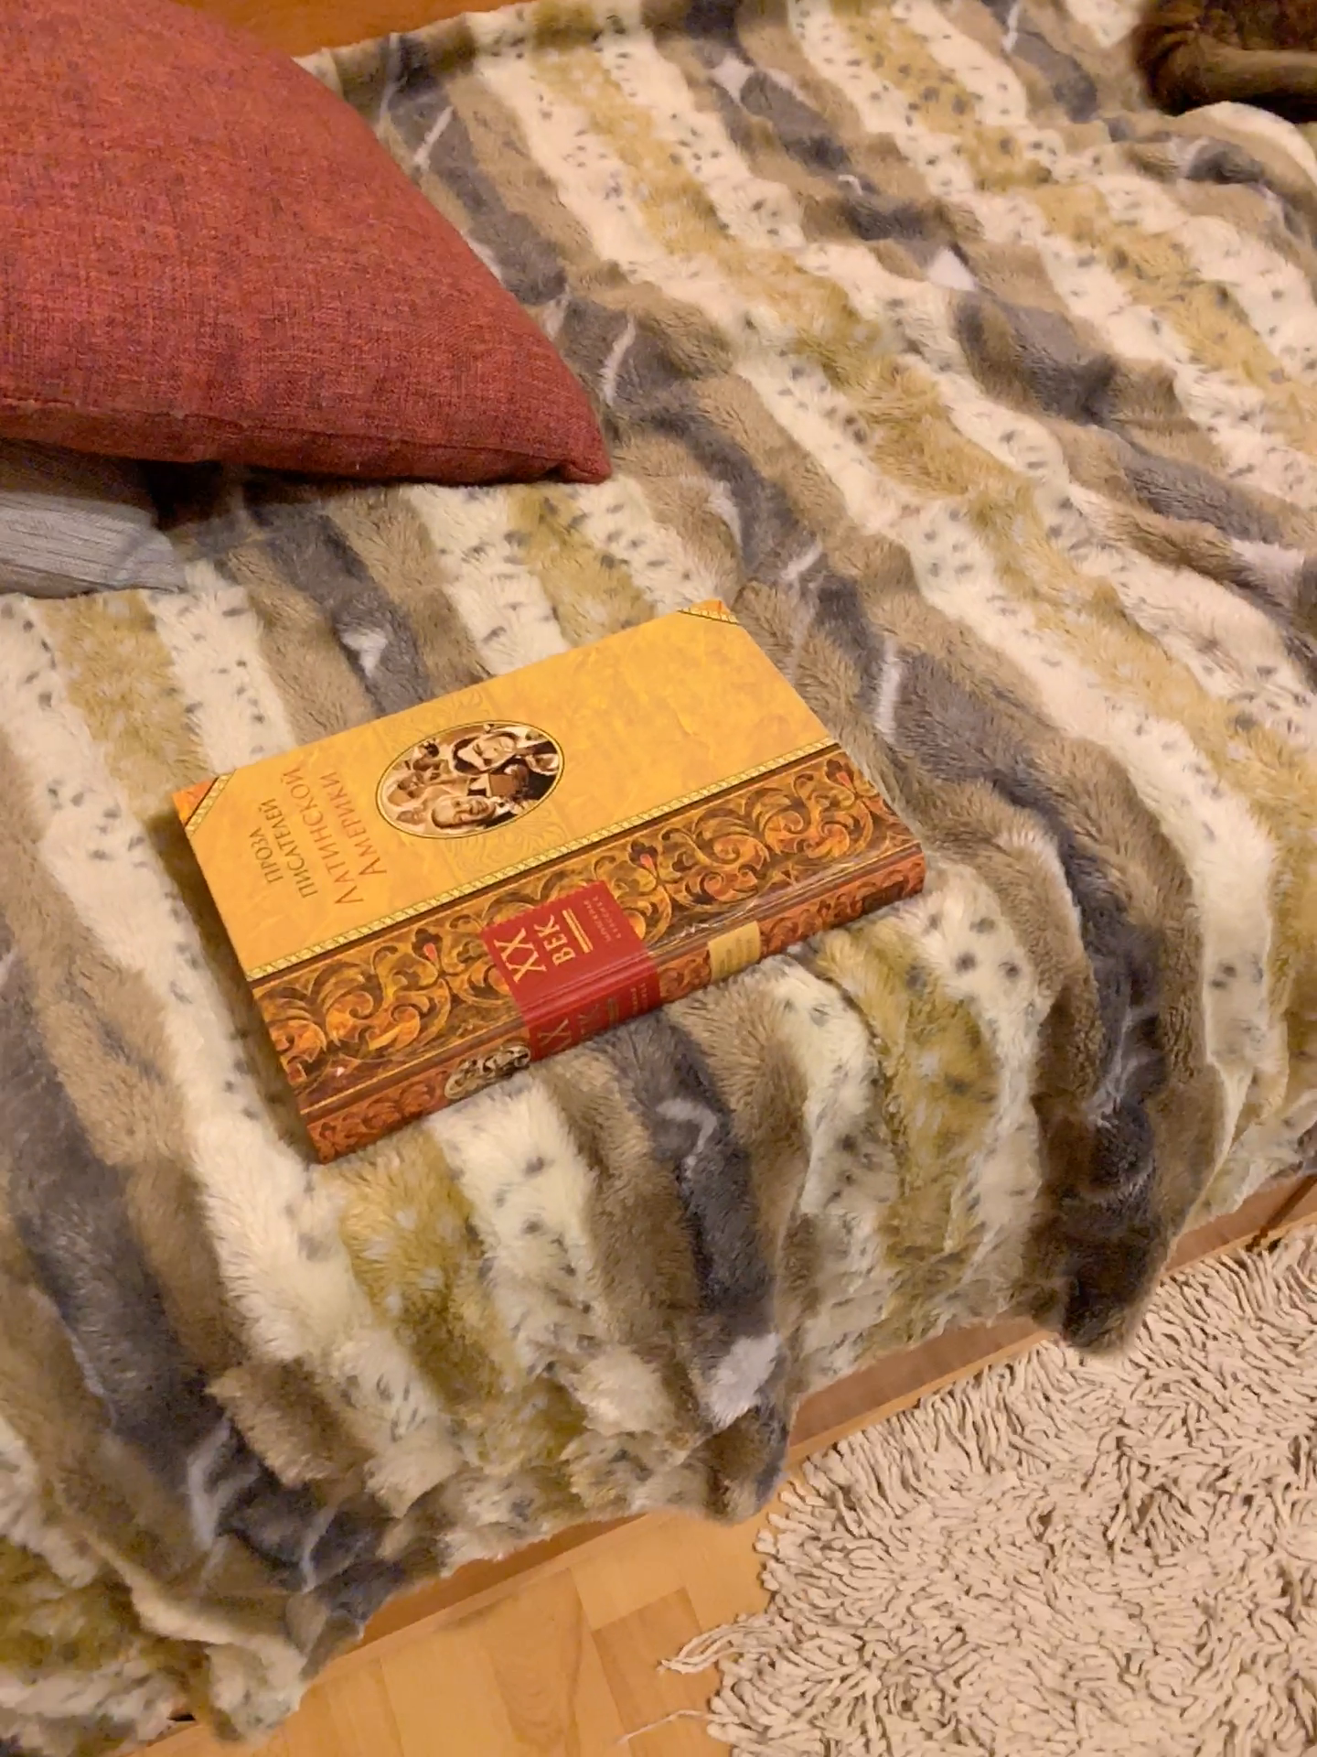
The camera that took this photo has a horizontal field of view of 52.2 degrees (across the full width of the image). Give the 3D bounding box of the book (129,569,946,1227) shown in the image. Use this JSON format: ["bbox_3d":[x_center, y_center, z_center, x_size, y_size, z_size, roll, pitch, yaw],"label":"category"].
[{"bbox_3d":[-0.051,-0.007,0.551,0.270,0.060,0.181,-24,57,-15],"label":"book"}]
